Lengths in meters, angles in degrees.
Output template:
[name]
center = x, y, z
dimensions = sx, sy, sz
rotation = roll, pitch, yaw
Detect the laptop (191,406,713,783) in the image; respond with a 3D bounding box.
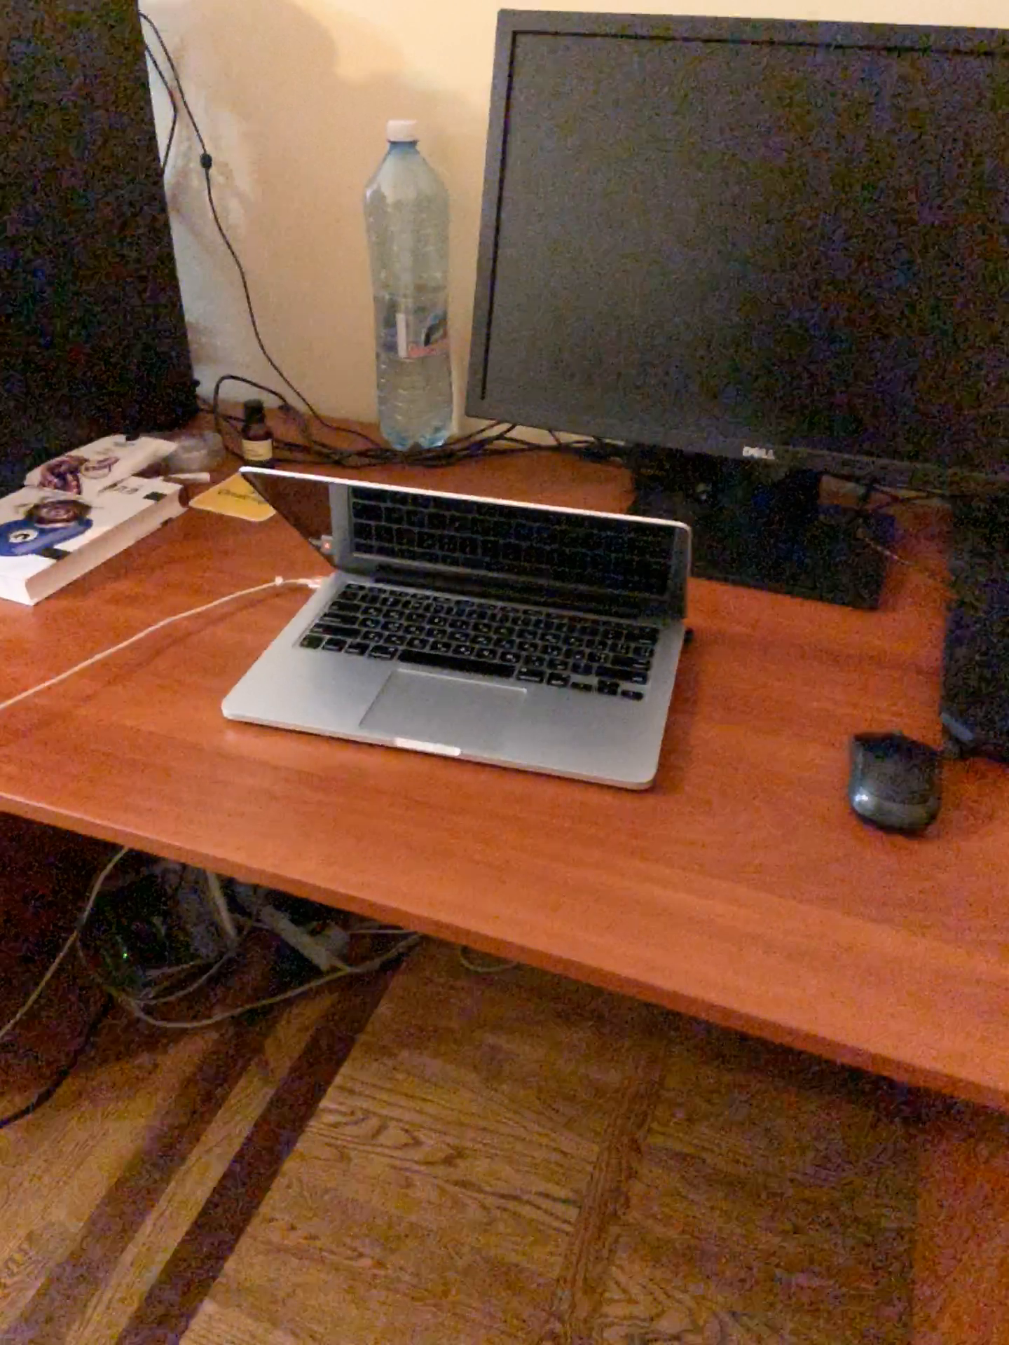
[laptop]
center = -0.024, -0.069, 0.728
dimensions = 0.306, 0.148, 0.205
rotation = 9, 34, 11
